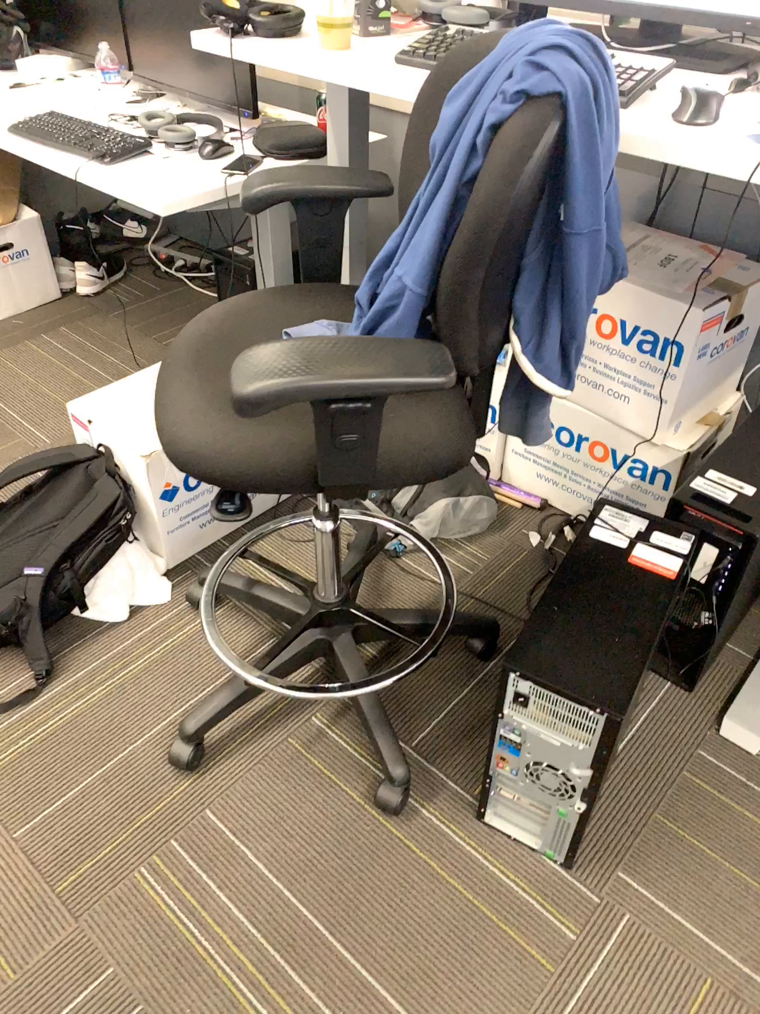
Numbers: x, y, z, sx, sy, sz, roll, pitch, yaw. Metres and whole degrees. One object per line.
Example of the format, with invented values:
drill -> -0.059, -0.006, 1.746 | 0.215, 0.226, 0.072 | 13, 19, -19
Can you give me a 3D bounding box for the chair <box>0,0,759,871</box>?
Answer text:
chair -> -0.070, -0.125, 1.242 | 0.740, 1.103, 0.755 | -8, 42, -11
